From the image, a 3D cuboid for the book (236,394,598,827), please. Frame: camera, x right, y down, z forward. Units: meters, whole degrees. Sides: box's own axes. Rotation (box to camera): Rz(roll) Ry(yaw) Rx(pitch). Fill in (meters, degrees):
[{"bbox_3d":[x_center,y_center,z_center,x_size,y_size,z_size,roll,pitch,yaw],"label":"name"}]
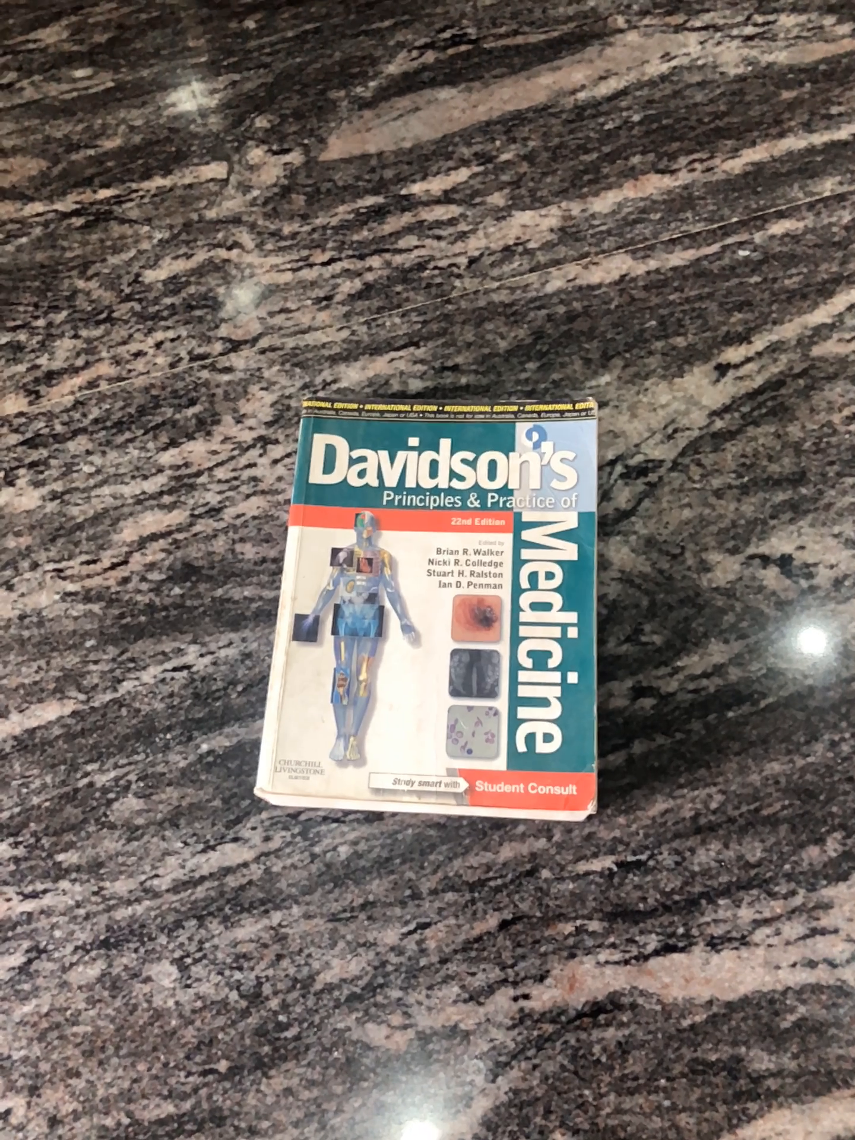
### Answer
[{"bbox_3d":[0.002,0.021,0.597,0.200,0.070,0.260,1,69,5],"label":"book"}]
